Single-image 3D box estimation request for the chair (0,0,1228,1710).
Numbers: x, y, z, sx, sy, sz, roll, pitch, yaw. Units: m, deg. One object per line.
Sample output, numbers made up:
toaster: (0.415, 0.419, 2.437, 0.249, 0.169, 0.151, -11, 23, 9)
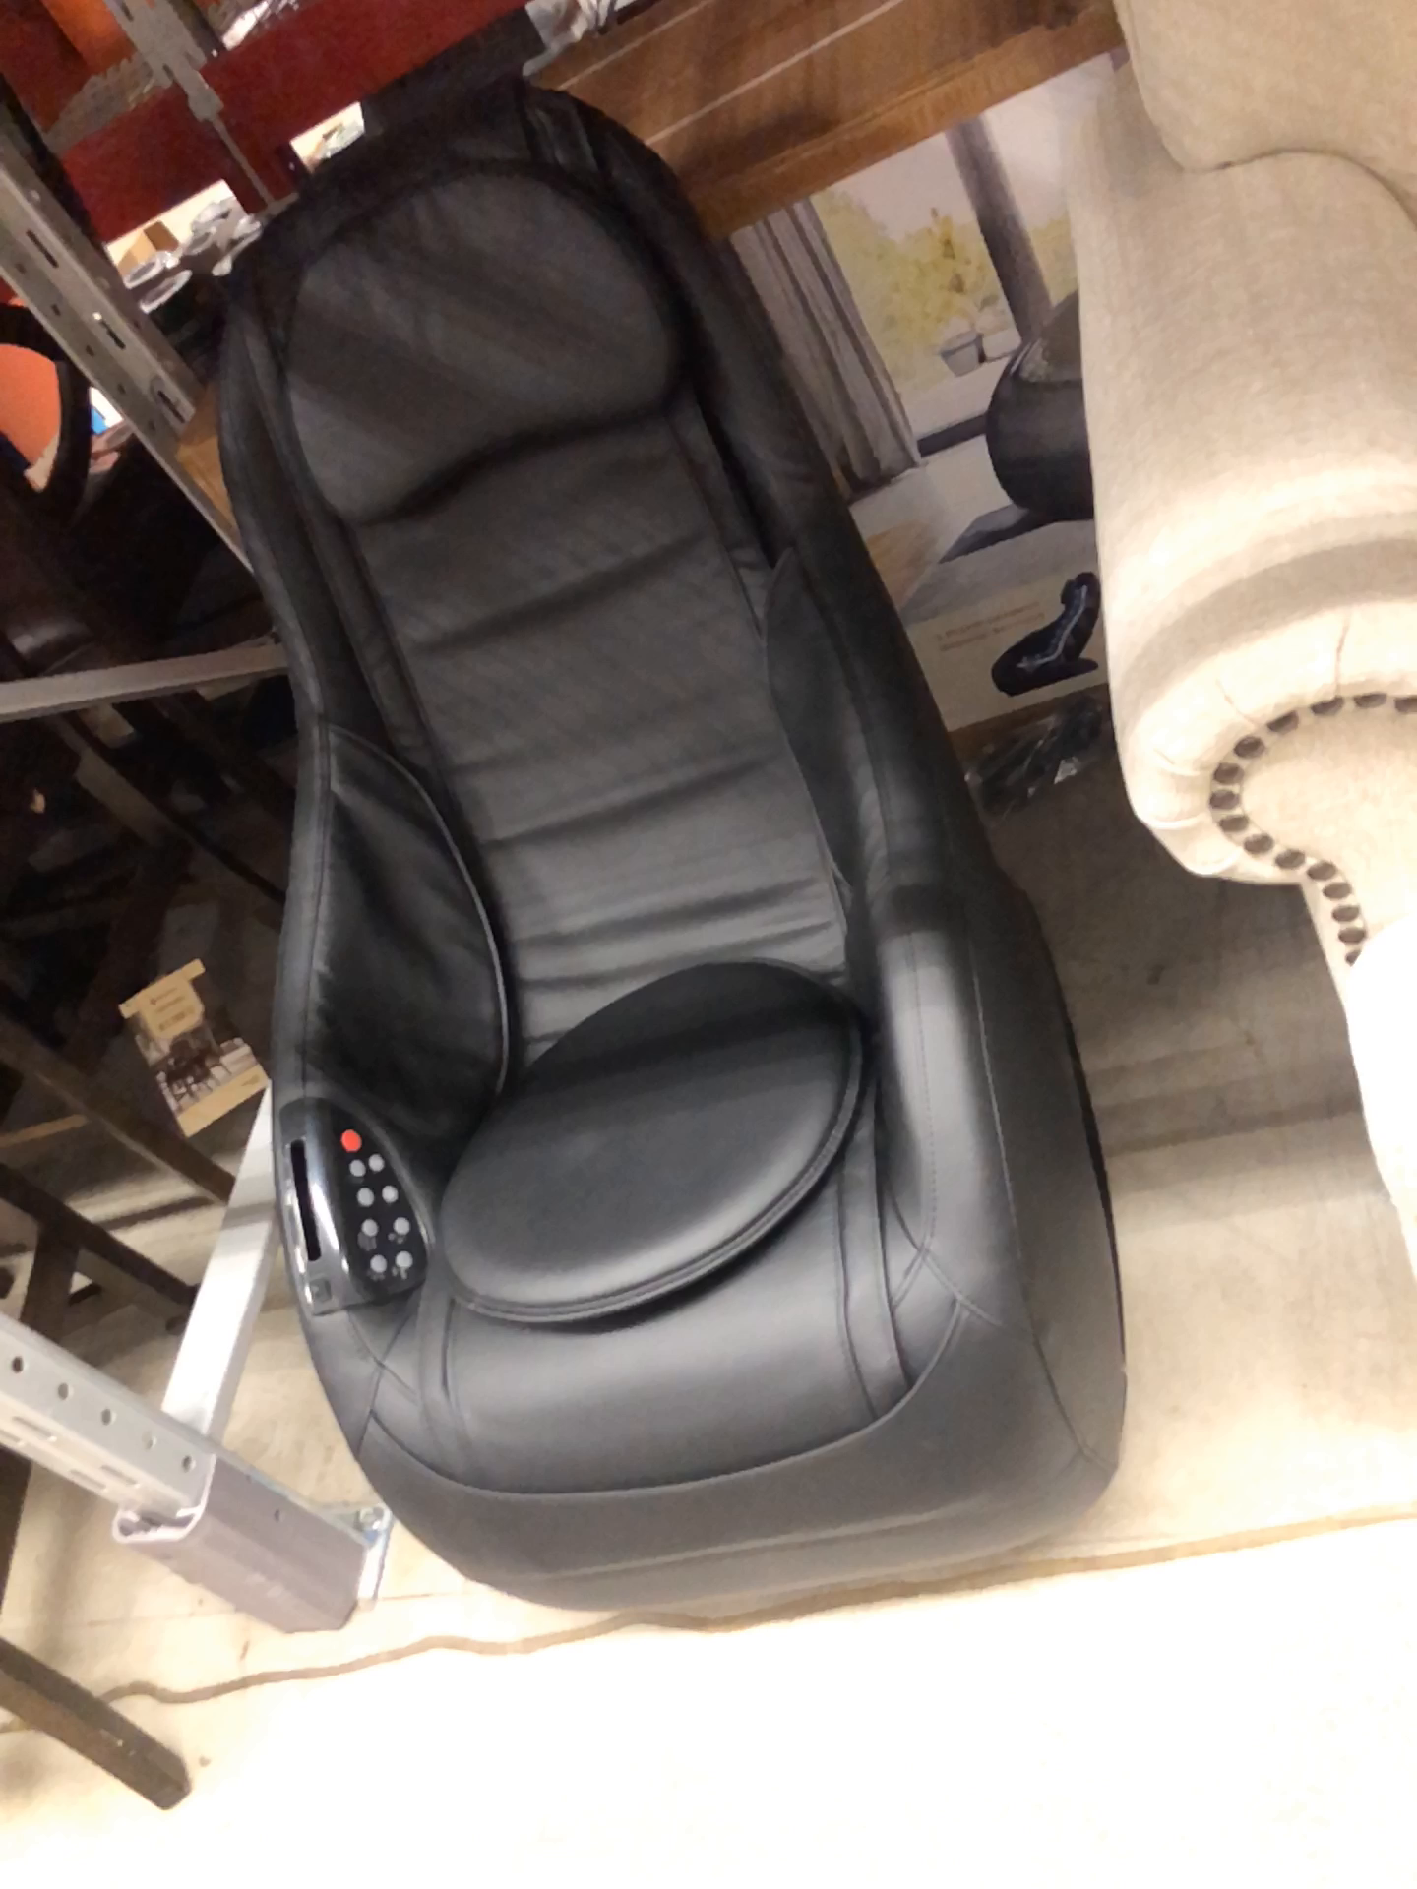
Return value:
chair: (-0.147, -0.016, 1.061, 0.652, 0.847, 0.701, -19, 43, 21)
